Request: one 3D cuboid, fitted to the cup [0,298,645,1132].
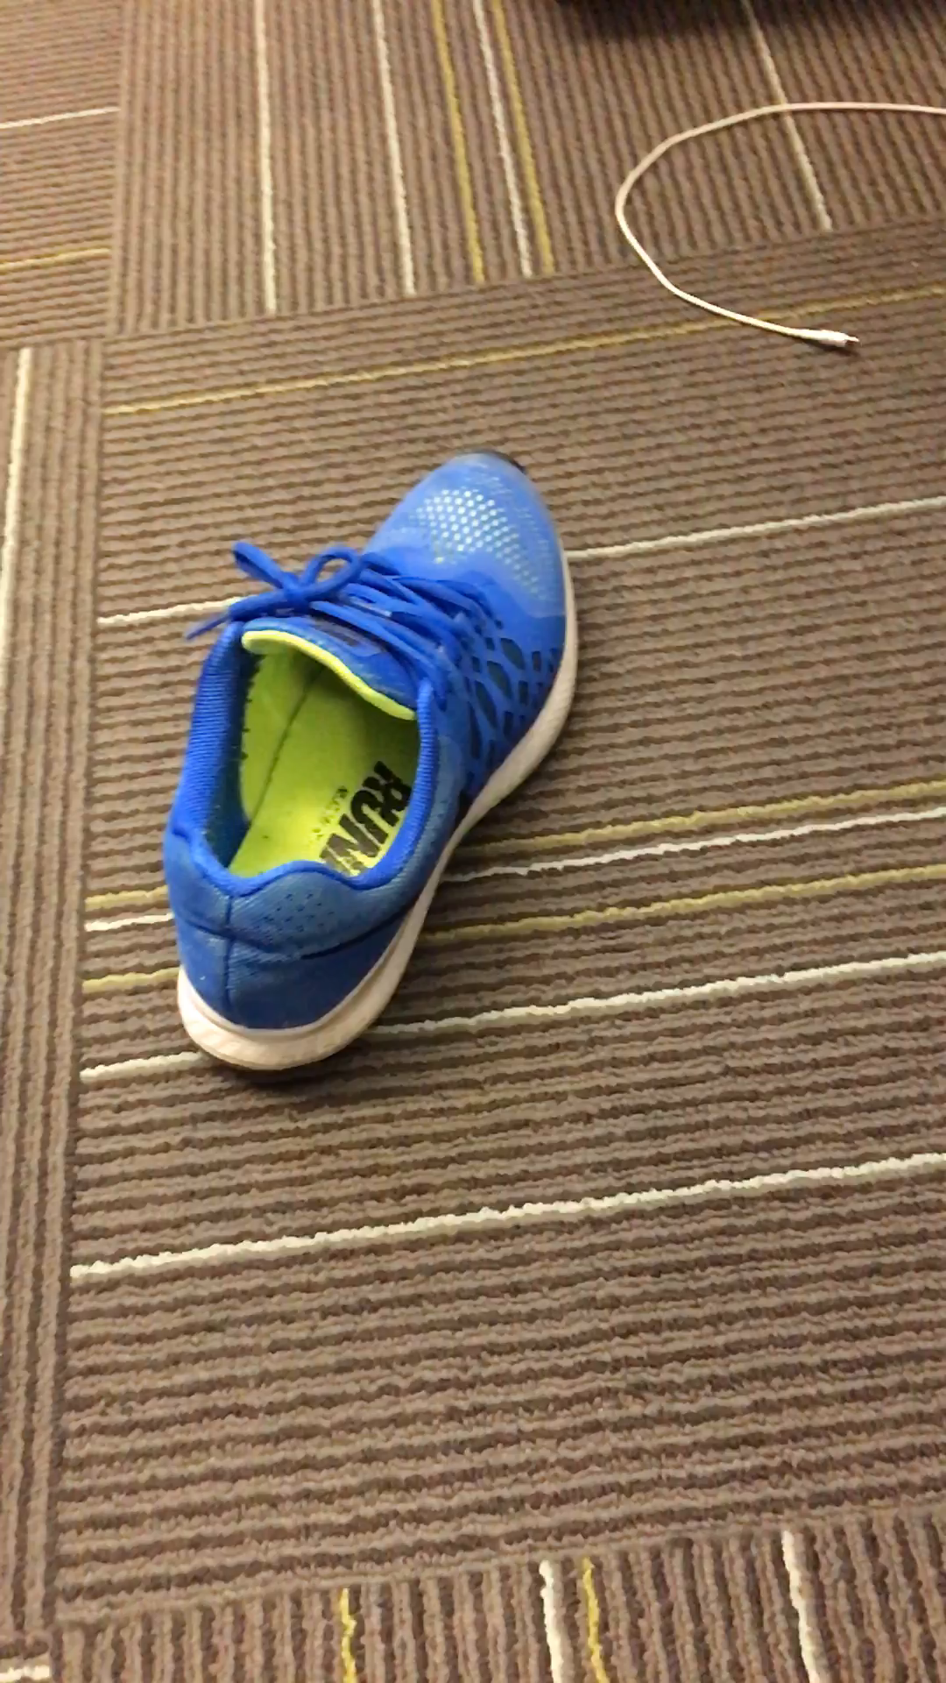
[{"bbox_3d":[-0.039,-0.061,0.543,0.130,0.100,0.300,14,62,14],"label":"cup"}]
